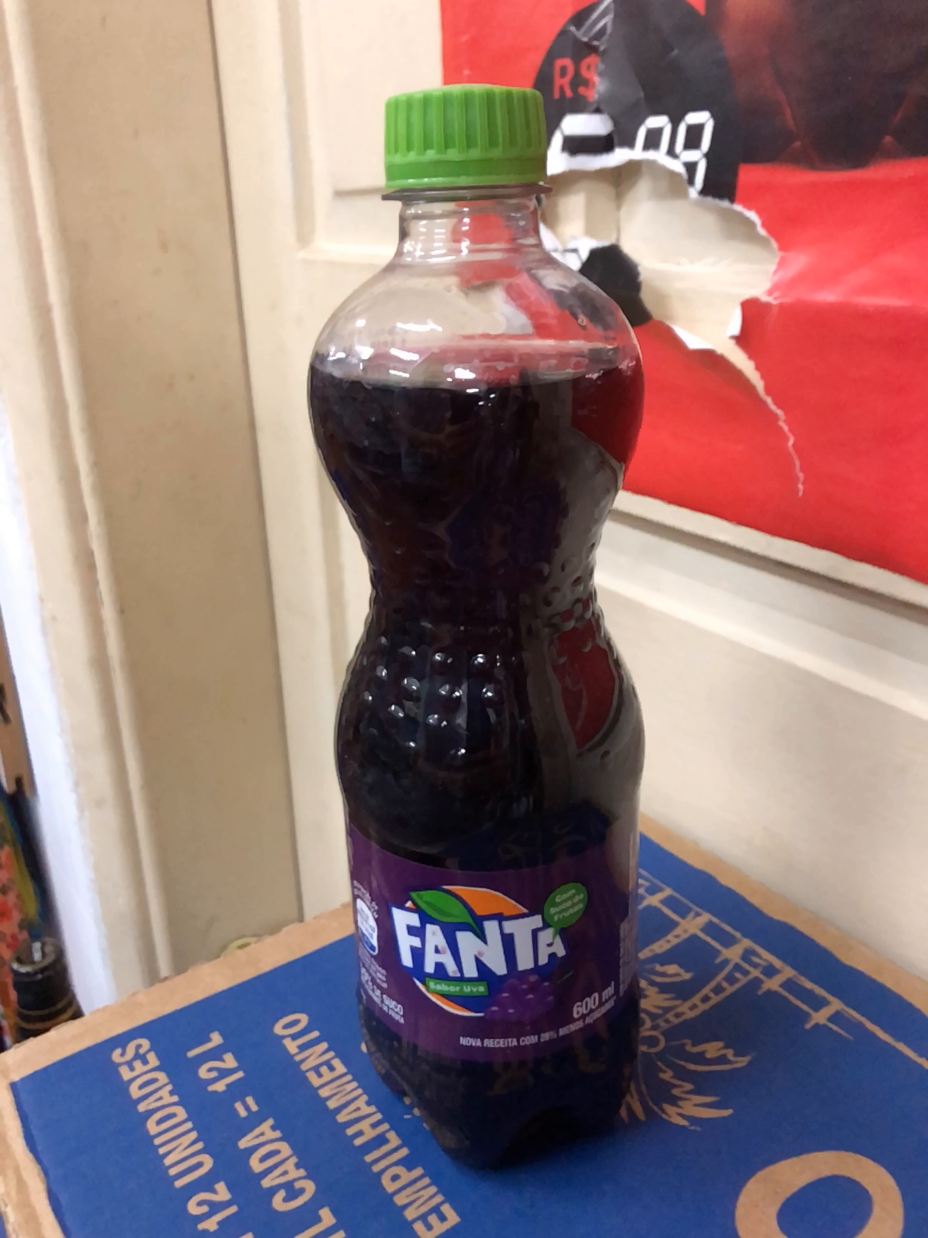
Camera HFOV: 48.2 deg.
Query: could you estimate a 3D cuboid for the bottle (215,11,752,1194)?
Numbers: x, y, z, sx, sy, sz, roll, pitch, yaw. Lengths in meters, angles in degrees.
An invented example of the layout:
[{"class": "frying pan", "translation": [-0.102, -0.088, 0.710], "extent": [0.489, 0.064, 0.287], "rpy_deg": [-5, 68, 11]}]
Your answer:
[{"class": "bottle", "translation": [0.009, 0.006, 0.226], "extent": [0.080, 0.229, 0.070], "rpy_deg": [1, 21, 7]}]
